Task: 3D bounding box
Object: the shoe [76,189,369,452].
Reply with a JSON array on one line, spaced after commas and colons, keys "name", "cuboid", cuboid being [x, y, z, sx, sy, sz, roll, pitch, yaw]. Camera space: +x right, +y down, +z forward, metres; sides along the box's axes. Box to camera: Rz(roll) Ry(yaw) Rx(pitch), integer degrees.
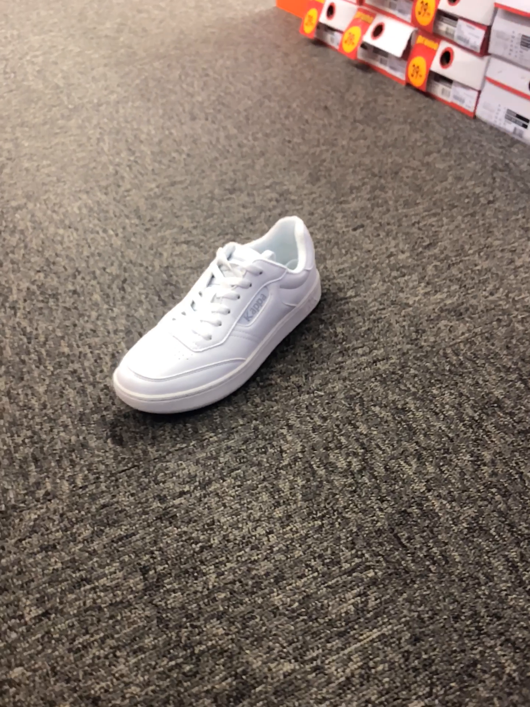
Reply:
[{"name": "shoe", "cuboid": [-0.024, -0.044, 0.538, 0.100, 0.089, 0.261, 30, 52, 29]}]
